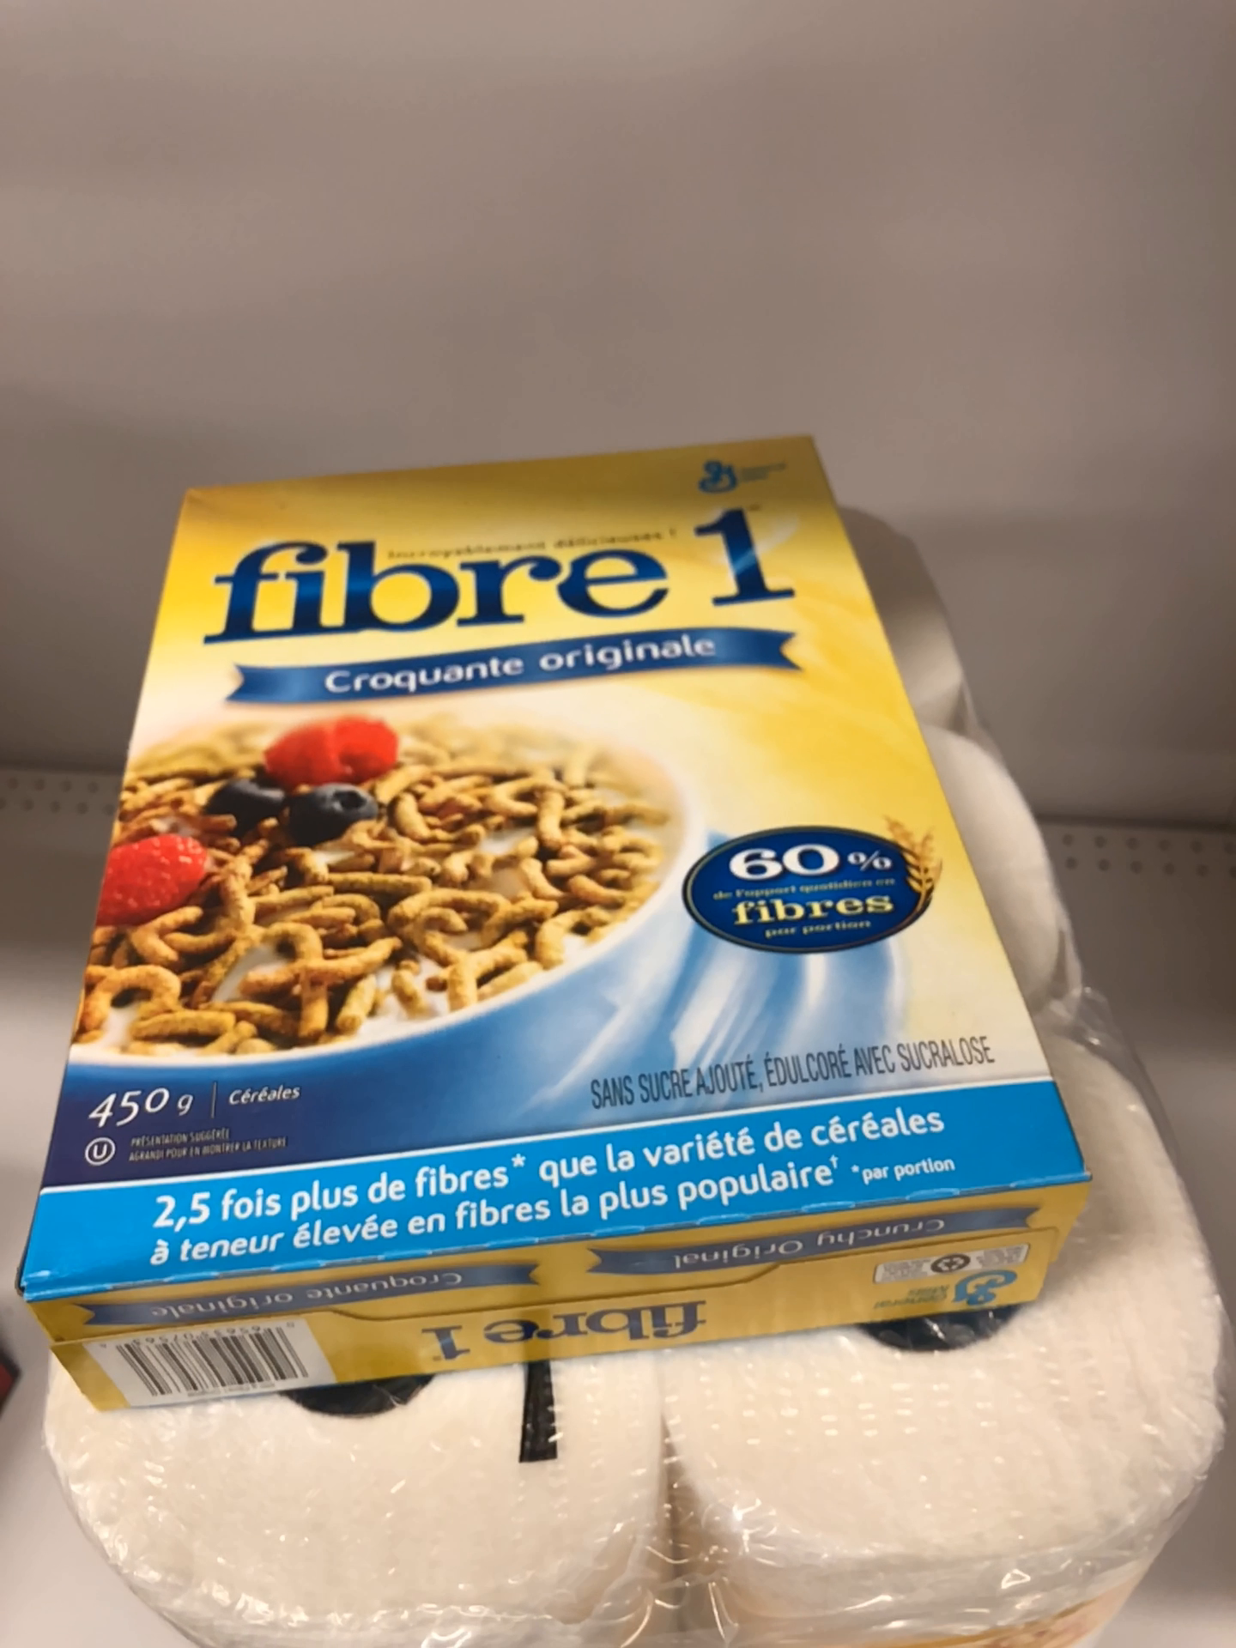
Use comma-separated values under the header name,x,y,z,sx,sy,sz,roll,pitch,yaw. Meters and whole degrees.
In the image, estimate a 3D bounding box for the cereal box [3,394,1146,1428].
name,x,y,z,sx,sy,sz,roll,pitch,yaw
cereal box,-0.017,-0.003,0.351,0.200,0.060,0.261,-5,49,-1
